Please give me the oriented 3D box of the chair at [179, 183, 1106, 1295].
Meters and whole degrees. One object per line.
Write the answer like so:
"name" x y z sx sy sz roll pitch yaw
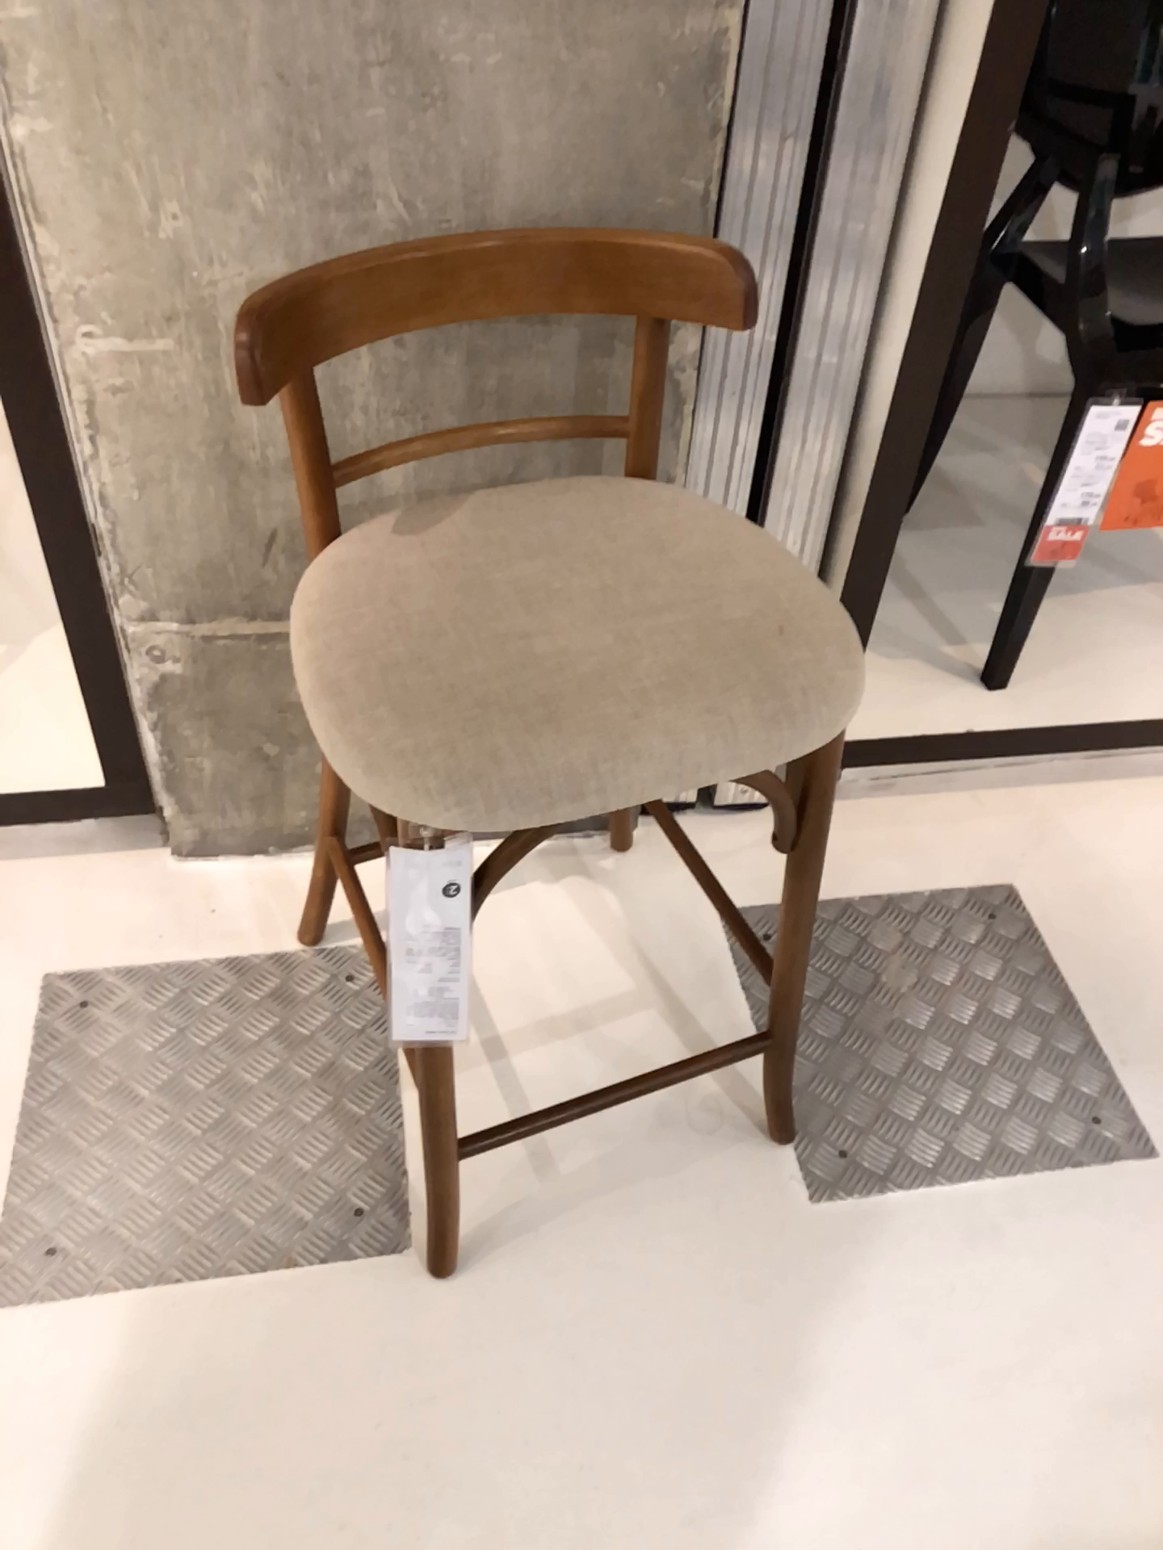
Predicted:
"chair" -0.008 -0.018 1.158 0.481 0.794 0.482 -15 47 -20
